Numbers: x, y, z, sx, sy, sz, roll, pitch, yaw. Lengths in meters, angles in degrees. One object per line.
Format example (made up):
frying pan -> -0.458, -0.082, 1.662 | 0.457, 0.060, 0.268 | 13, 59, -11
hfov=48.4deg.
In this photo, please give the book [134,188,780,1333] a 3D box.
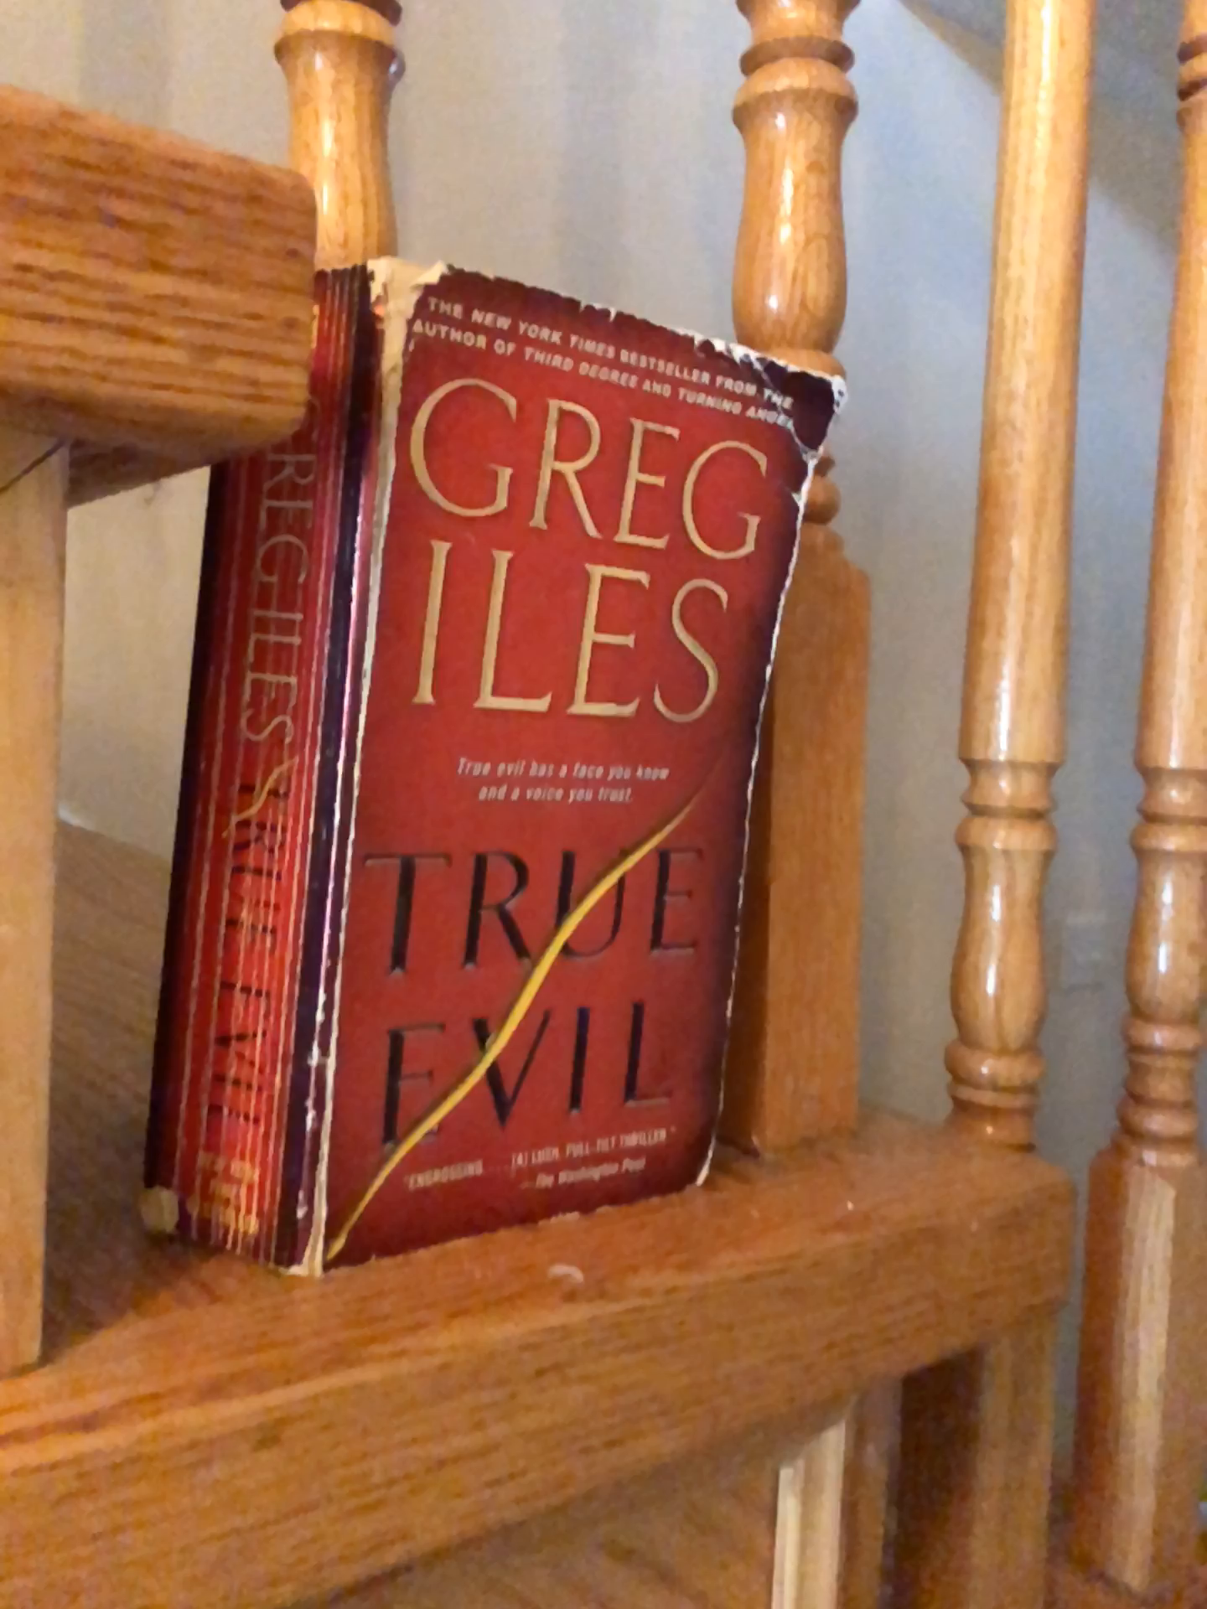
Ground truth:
book -> -0.032, -0.009, 0.304 | 0.120, 0.205, 0.068 | 0, 4, -37
